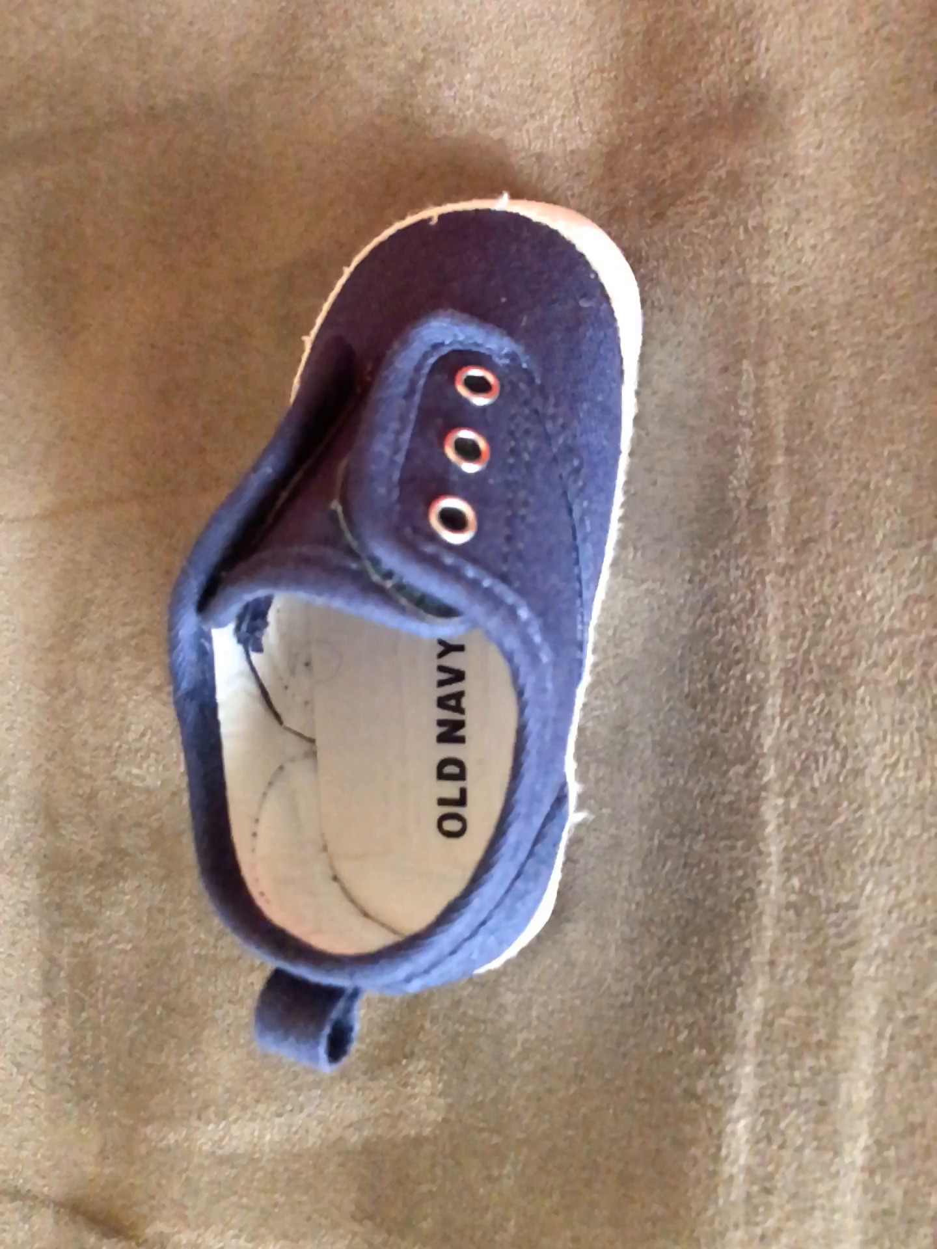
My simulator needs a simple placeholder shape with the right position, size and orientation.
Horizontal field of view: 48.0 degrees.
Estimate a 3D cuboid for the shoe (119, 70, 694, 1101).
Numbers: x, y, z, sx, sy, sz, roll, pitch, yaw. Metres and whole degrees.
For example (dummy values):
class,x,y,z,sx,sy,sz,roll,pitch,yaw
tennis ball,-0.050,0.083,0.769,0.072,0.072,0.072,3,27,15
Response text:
class,x,y,z,sx,sy,sz,roll,pitch,yaw
shoe,-0.006,-0.004,0.153,0.060,0.060,0.110,2,92,28
